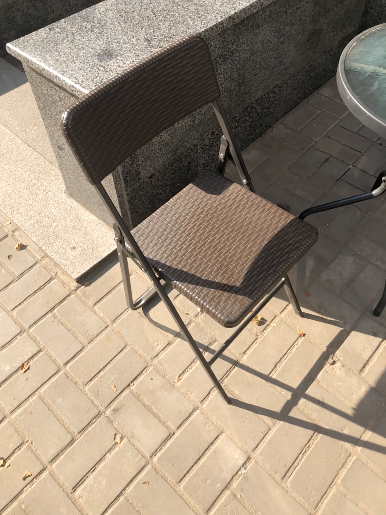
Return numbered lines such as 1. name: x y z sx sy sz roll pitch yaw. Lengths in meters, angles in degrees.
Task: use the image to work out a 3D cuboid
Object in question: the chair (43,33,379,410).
1. chair: 0.040 -0.044 1.124 0.481 0.778 0.431 35 61 24
